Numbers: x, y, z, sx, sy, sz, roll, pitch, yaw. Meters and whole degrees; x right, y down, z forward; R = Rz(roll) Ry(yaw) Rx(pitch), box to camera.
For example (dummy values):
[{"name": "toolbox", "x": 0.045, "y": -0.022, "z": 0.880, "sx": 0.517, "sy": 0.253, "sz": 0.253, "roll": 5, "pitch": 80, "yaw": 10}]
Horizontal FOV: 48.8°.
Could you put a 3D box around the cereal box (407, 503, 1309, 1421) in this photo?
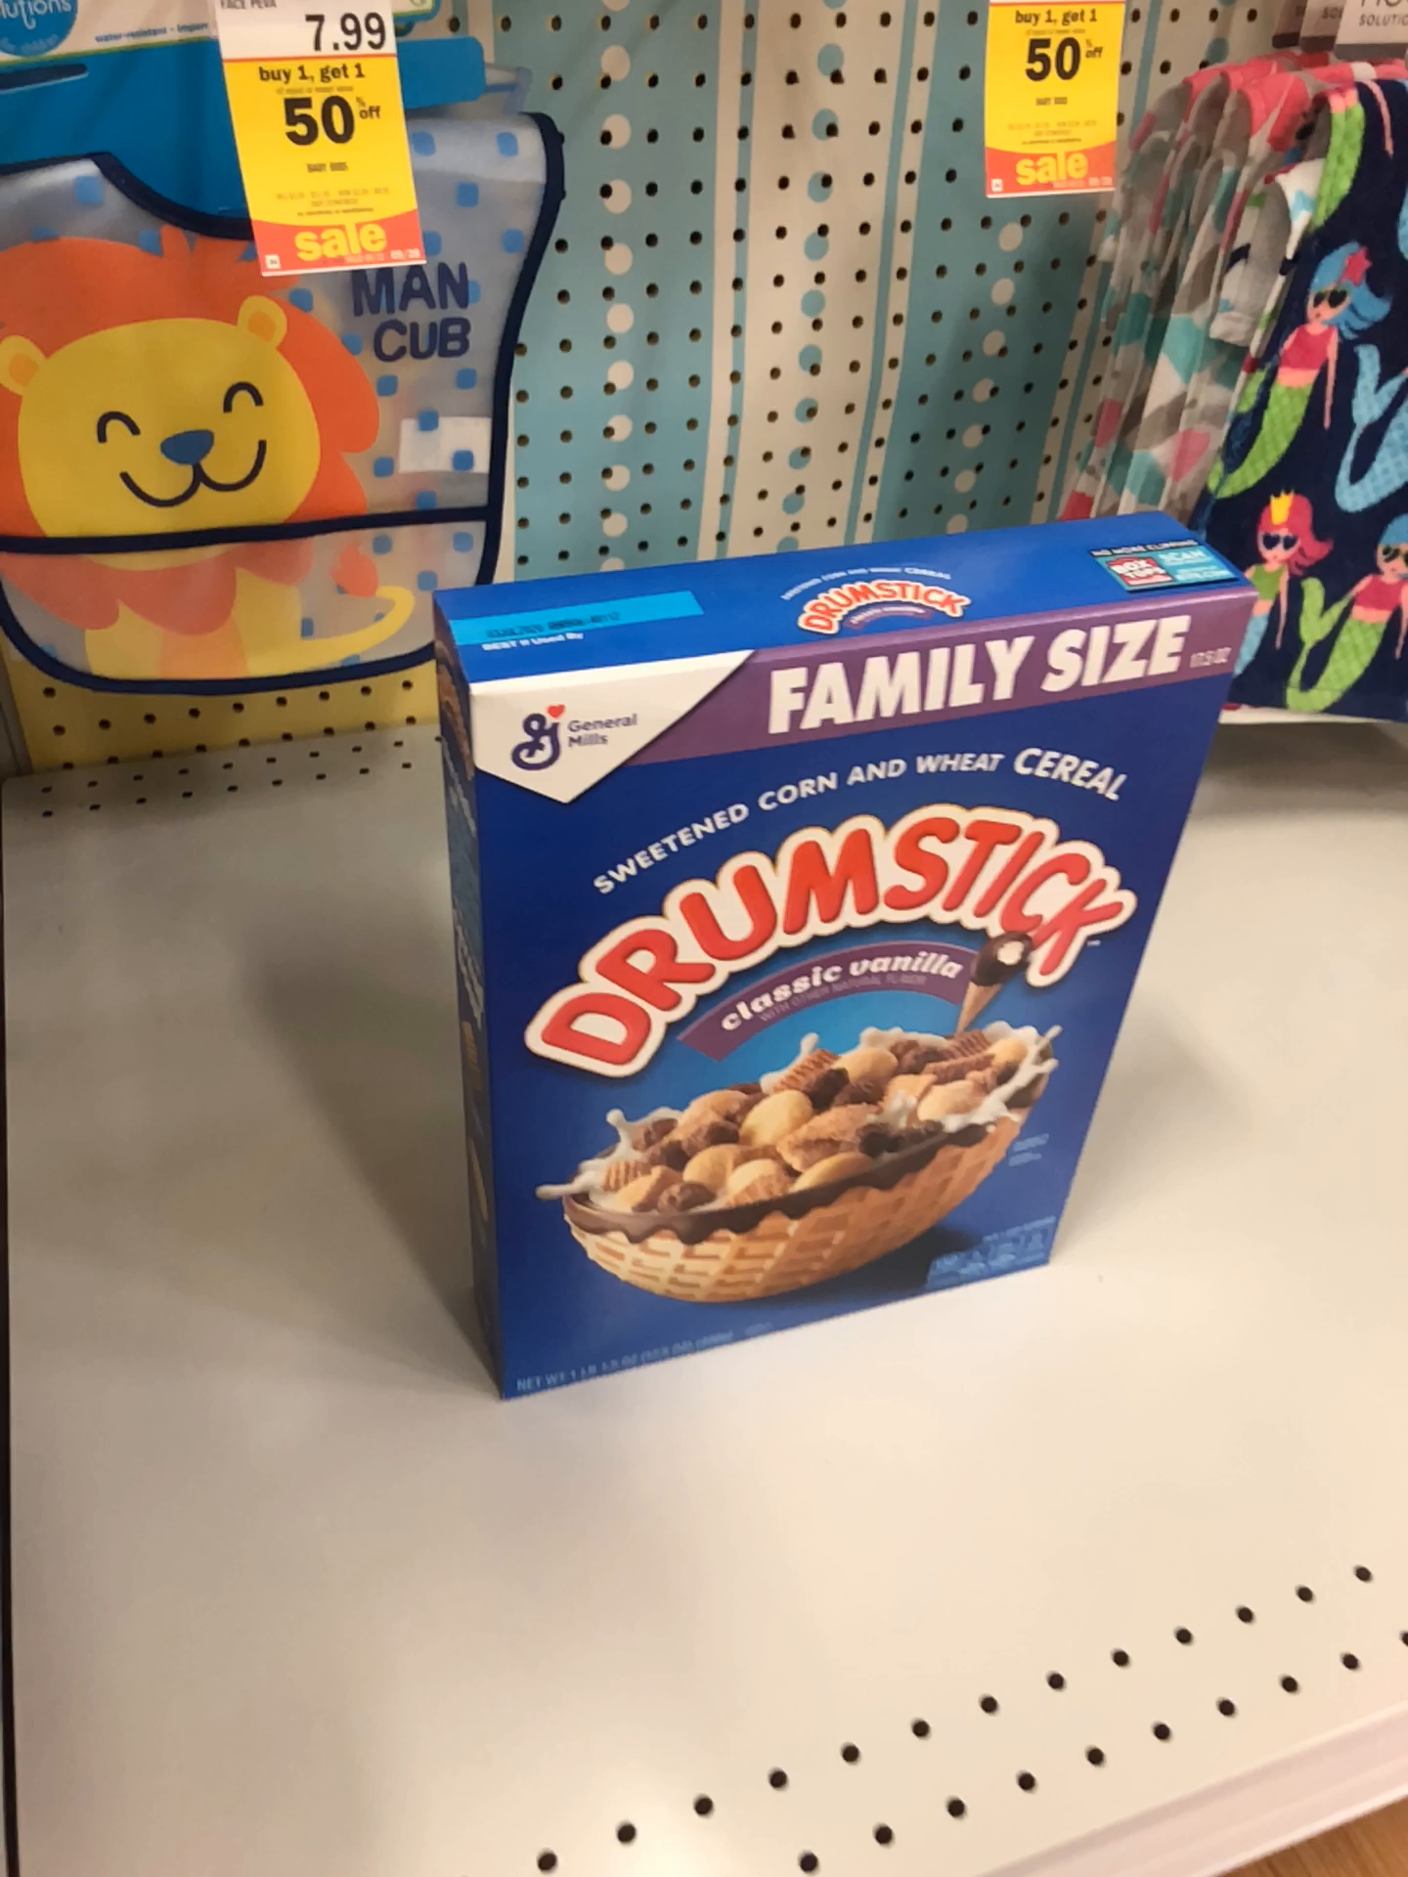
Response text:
[{"name": "cereal box", "x": 0.041, "y": 0.018, "z": 0.537, "sx": 0.250, "sy": 0.299, "sz": 0.070, "roll": -10, "pitch": 41, "yaw": -16}]
